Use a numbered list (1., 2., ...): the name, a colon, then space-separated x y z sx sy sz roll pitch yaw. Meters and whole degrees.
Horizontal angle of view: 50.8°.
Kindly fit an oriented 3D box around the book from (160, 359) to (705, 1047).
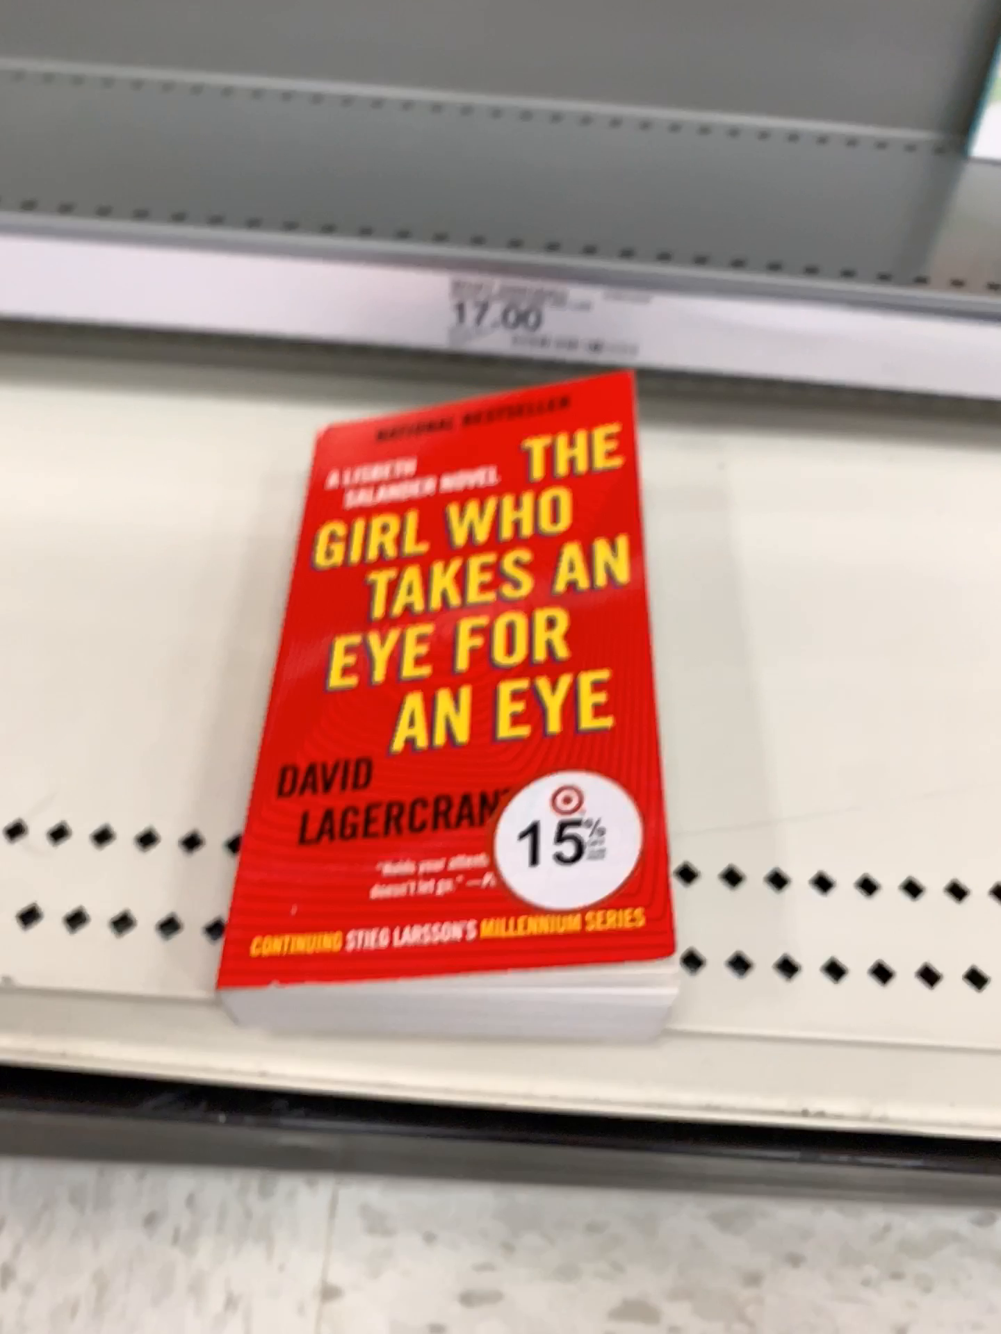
1. book: -0.013 -0.002 0.300 0.115 0.046 0.200 2 54 -1
